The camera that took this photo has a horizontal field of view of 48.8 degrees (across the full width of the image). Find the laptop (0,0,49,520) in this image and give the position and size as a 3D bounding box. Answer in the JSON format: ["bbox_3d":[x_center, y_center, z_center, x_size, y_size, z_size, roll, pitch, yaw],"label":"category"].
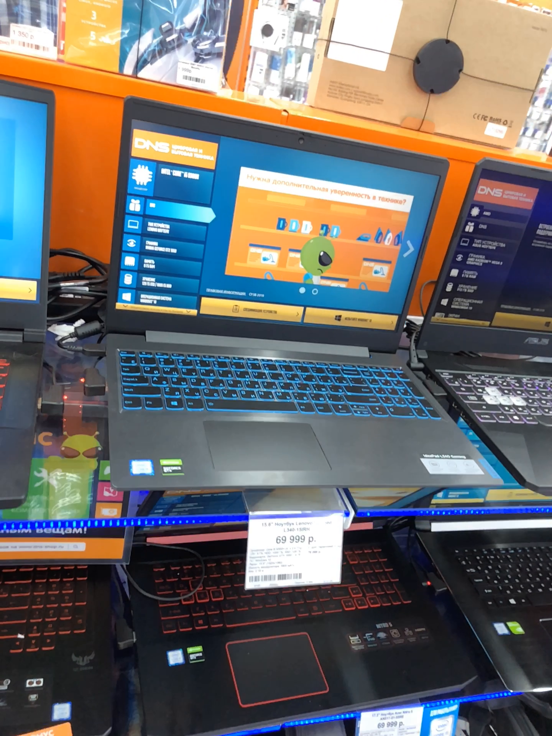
[{"bbox_3d":[-0.364,-0.095,0.439,0.356,0.224,0.320,3,29,-20],"label":"laptop"}]

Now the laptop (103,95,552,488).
[{"bbox_3d":[0.036,-0.072,0.565,0.357,0.235,0.279,4,29,-19],"label":"laptop"}]

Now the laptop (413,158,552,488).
[{"bbox_3d":[0.407,-0.052,0.681,0.368,0.244,0.274,4,29,-17],"label":"laptop"}]
